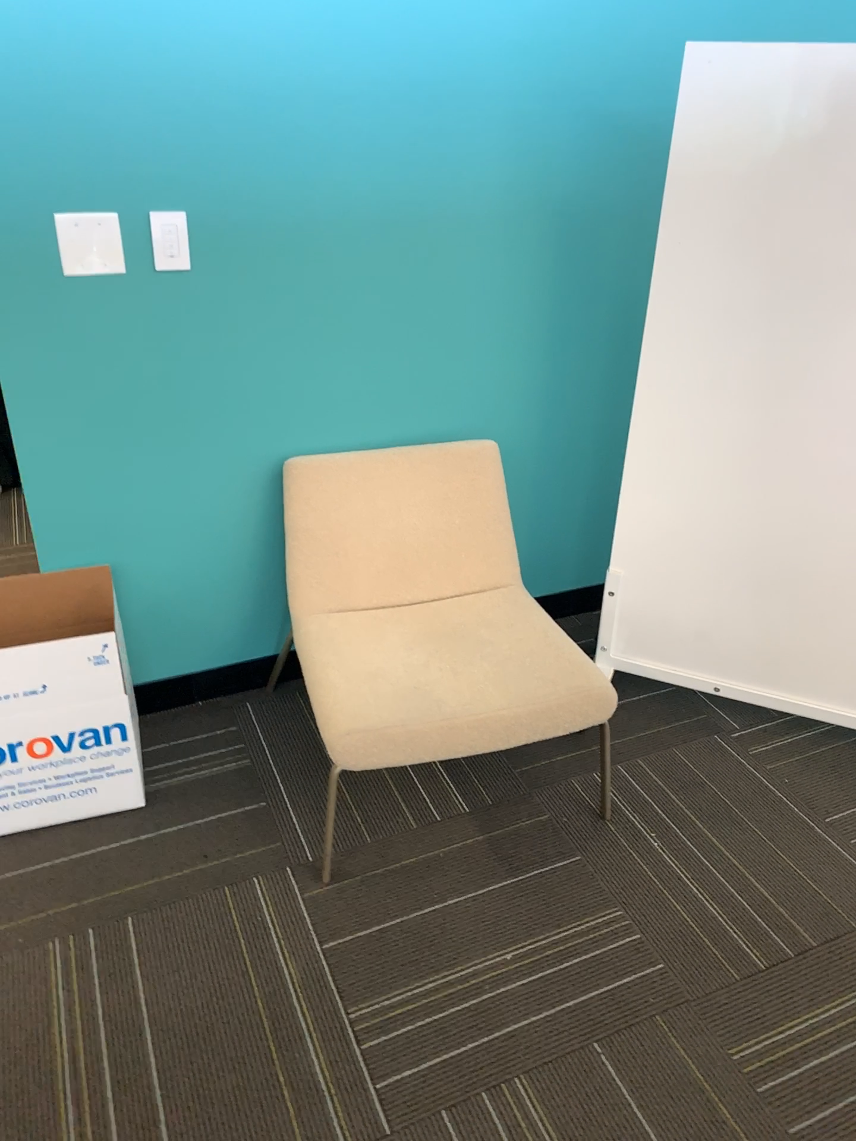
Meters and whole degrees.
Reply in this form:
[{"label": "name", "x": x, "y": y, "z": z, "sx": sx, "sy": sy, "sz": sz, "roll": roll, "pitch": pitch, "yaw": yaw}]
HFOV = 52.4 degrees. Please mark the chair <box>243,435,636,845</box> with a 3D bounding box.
[{"label": "chair", "x": -0.028, "y": 0.100, "z": 2.052, "sx": 0.660, "sy": 0.567, "sz": 0.734, "roll": -8, "pitch": 29, "yaw": -17}]
